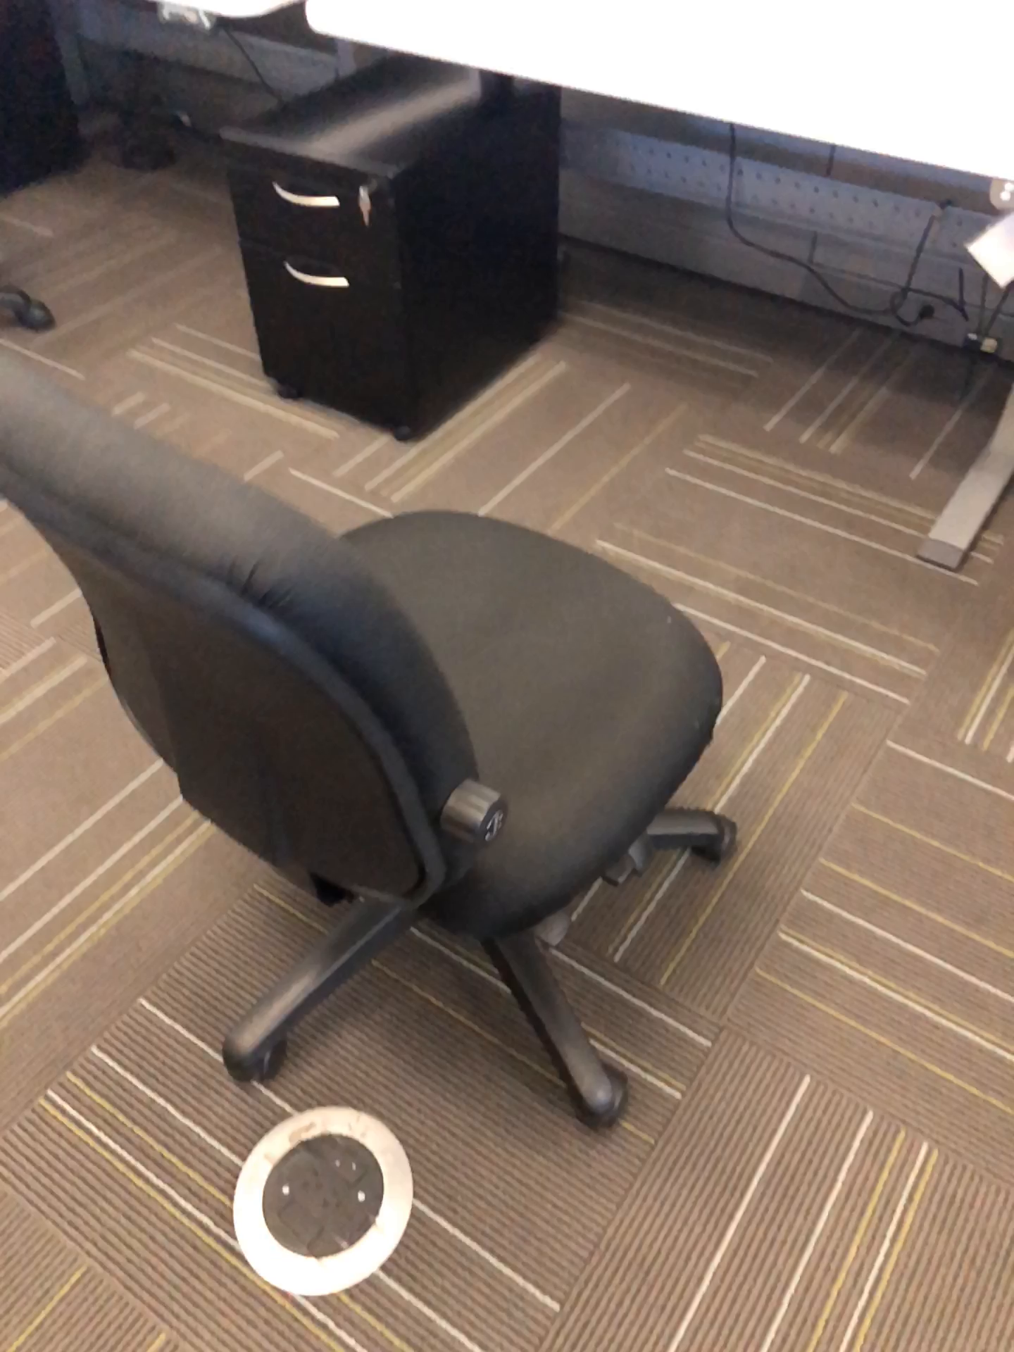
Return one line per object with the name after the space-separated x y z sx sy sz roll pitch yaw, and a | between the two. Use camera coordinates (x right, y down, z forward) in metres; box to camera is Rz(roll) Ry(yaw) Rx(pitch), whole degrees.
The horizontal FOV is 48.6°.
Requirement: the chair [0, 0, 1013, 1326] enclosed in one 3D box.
-0.116 -0.064 1.141 0.771 0.846 0.762 25 50 24 | chair
